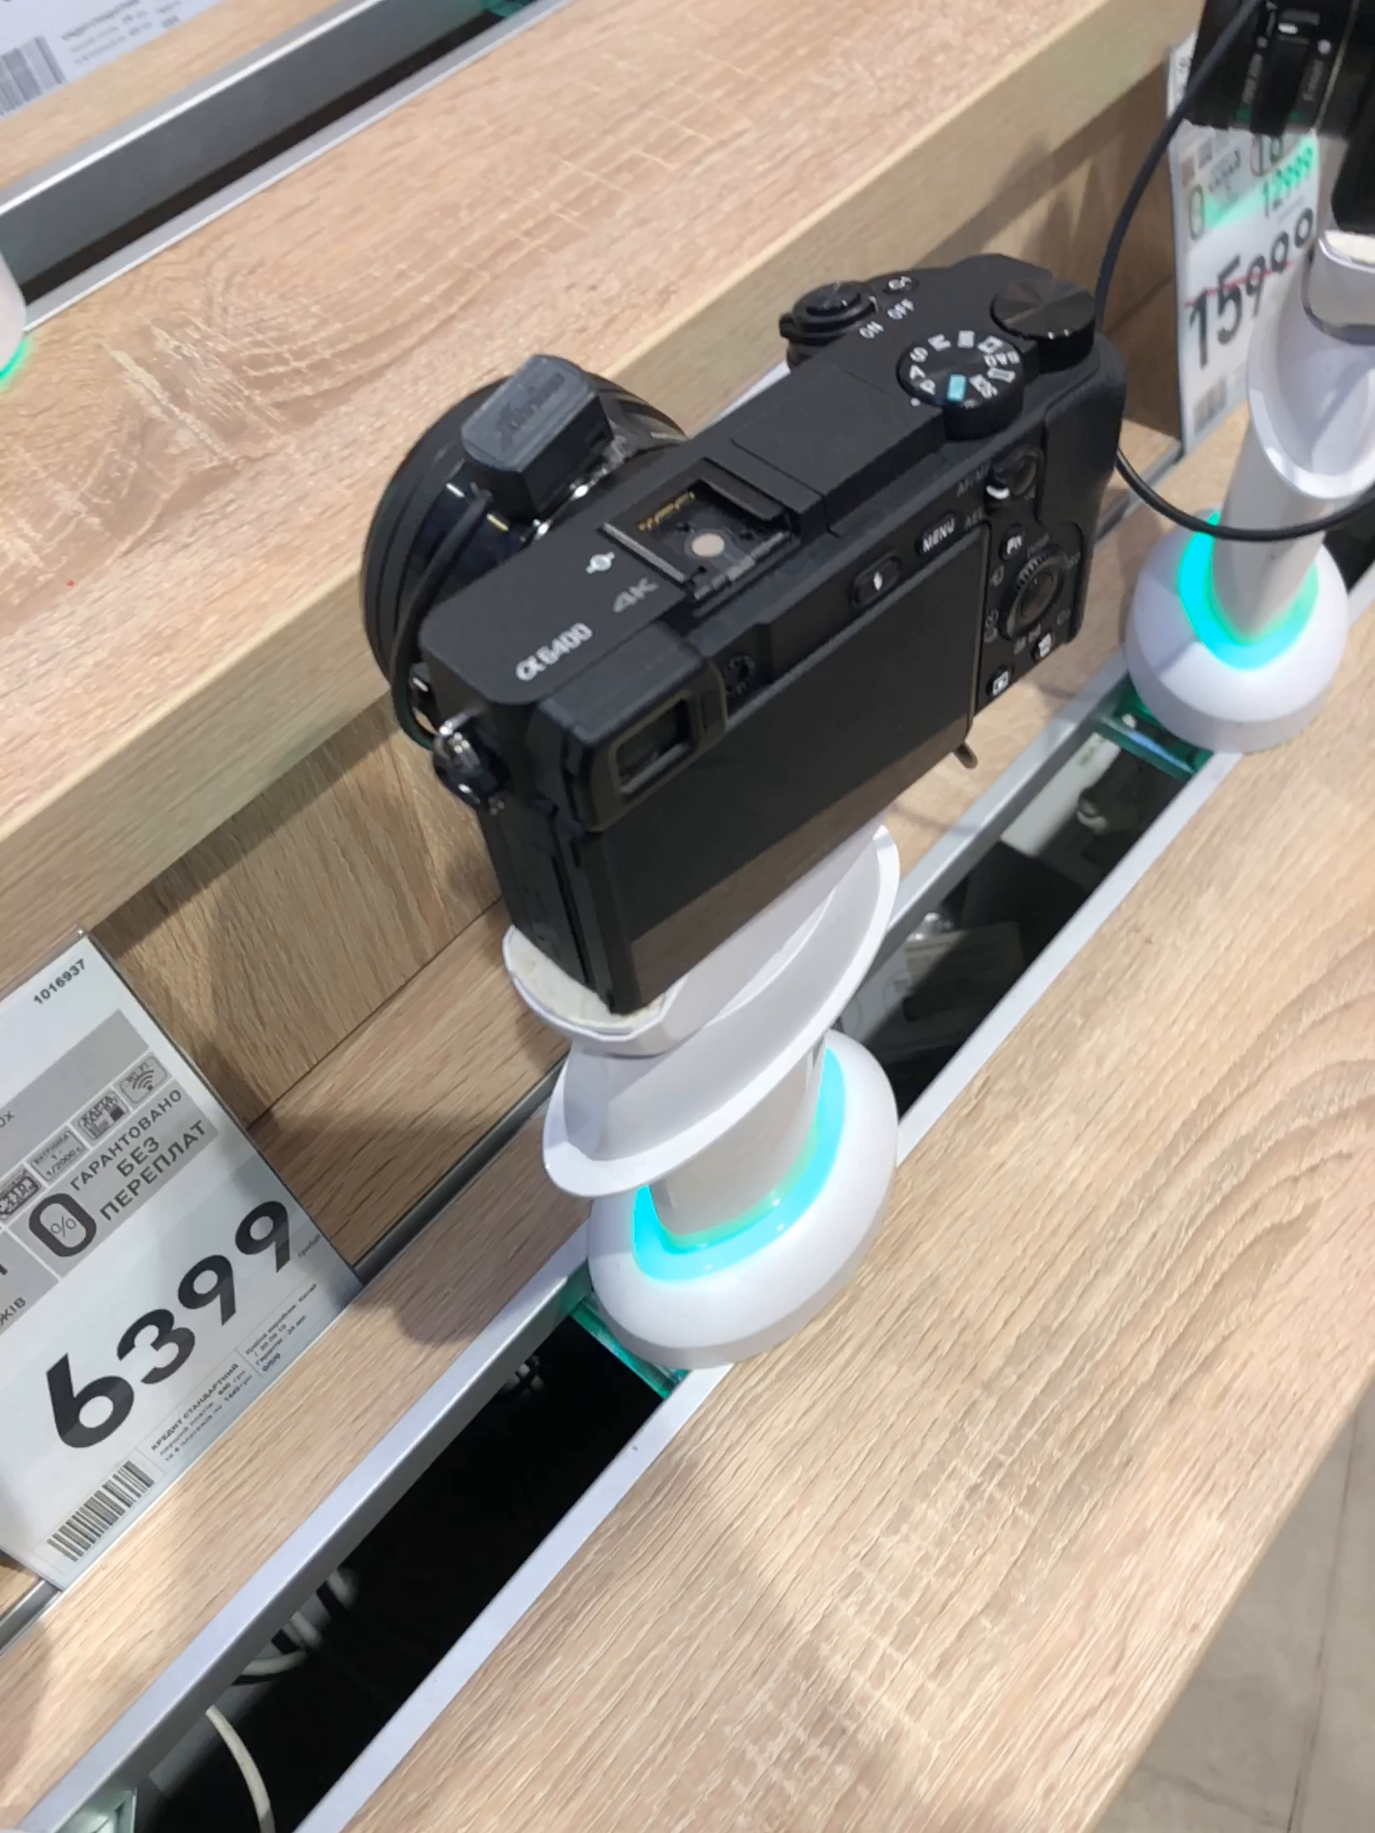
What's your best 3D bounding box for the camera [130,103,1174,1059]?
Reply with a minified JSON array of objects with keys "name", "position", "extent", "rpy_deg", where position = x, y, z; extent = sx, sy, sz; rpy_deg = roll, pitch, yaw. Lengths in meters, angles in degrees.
[{"name":"camera","position":[-0.003,-0.061,0.254],"extent":[0.122,0.069,0.098],"rpy_deg":[-40,60,-21]}]
